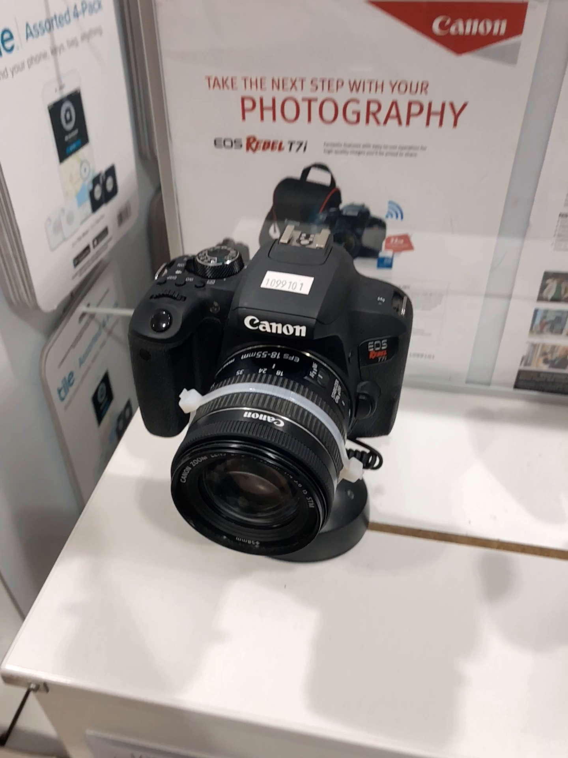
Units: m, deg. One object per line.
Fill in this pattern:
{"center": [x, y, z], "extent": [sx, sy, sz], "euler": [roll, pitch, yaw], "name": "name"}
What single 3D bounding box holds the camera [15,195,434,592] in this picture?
{"center": [-0.012, -0.001, 0.275], "extent": [0.130, 0.100, 0.120], "euler": [9, 40, 10], "name": "camera"}
